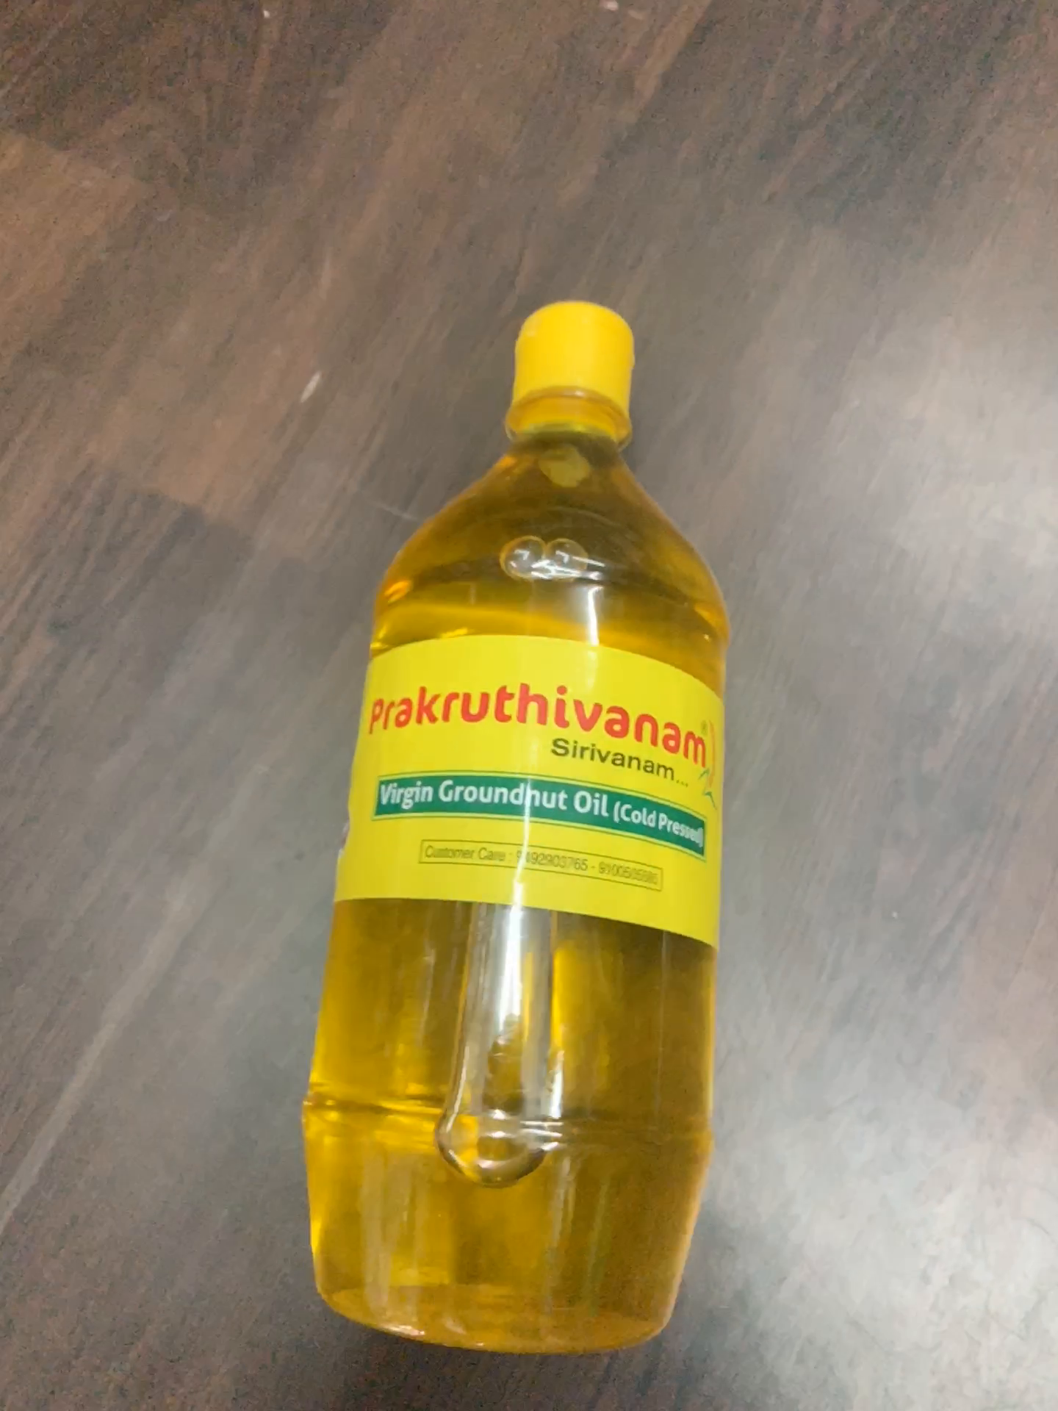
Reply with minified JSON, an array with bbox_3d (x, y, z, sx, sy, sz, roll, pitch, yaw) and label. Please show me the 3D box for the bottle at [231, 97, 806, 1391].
[{"bbox_3d":[0.006,-0.003,0.259,0.090,0.080,0.260,6,73,-1],"label":"bottle"}]
